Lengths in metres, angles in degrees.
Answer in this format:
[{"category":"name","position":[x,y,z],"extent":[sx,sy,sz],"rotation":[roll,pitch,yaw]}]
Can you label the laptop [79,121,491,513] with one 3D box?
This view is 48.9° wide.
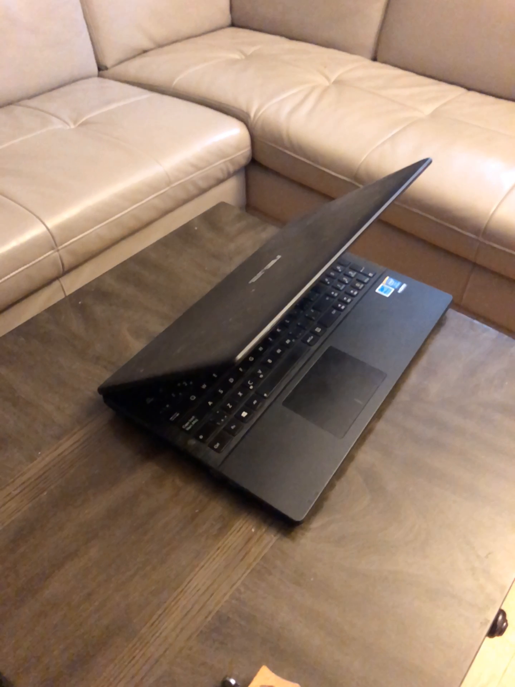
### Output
[{"category":"laptop","position":[0.049,-0.061,0.612],"extent":[0.238,0.164,0.373],"rotation":[27,51,23]}]
